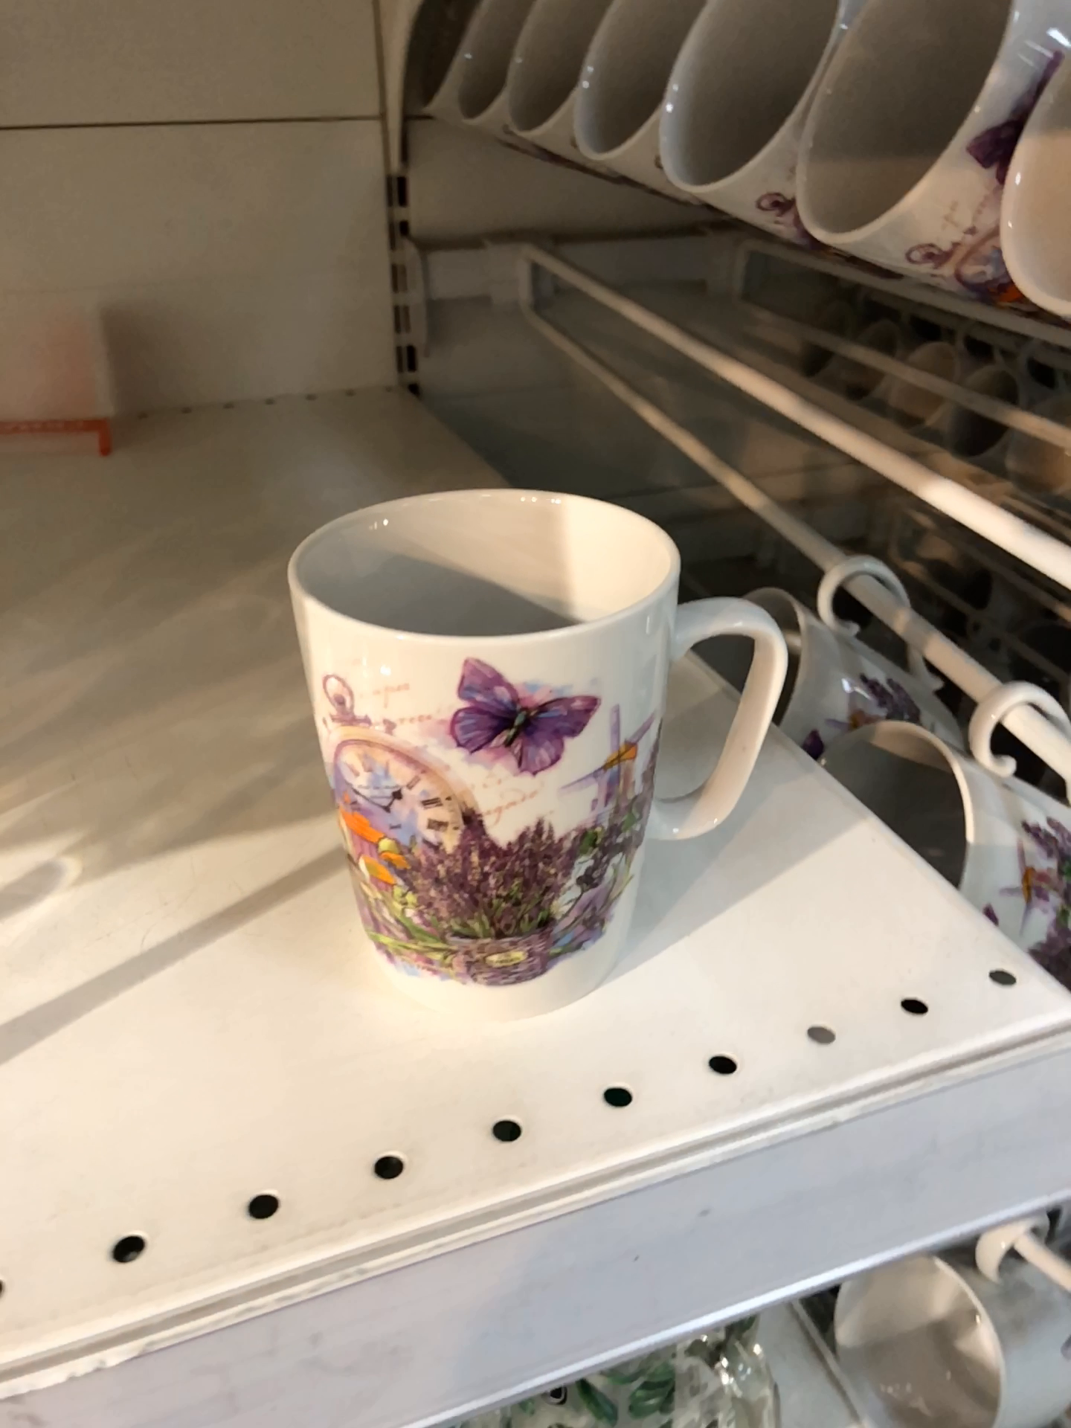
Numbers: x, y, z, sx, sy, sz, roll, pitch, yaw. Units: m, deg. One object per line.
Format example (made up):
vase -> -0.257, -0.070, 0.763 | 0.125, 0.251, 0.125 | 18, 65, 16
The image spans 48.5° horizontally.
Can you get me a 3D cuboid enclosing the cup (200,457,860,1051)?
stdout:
cup -> -0.006, 0.004, 0.270 | 0.119, 0.094, 0.082 | -6, 32, -9
